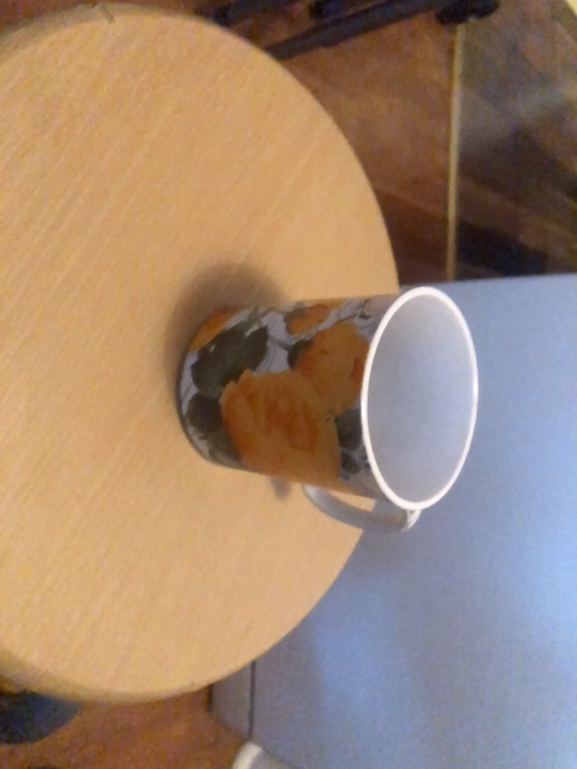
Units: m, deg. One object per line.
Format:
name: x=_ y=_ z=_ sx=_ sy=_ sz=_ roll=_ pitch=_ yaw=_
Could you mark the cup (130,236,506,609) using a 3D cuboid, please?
cup: x=0.018 y=0.013 z=0.270 sx=0.083 sy=0.097 sz=0.111 roll=-46 pitch=124 yaw=-38
